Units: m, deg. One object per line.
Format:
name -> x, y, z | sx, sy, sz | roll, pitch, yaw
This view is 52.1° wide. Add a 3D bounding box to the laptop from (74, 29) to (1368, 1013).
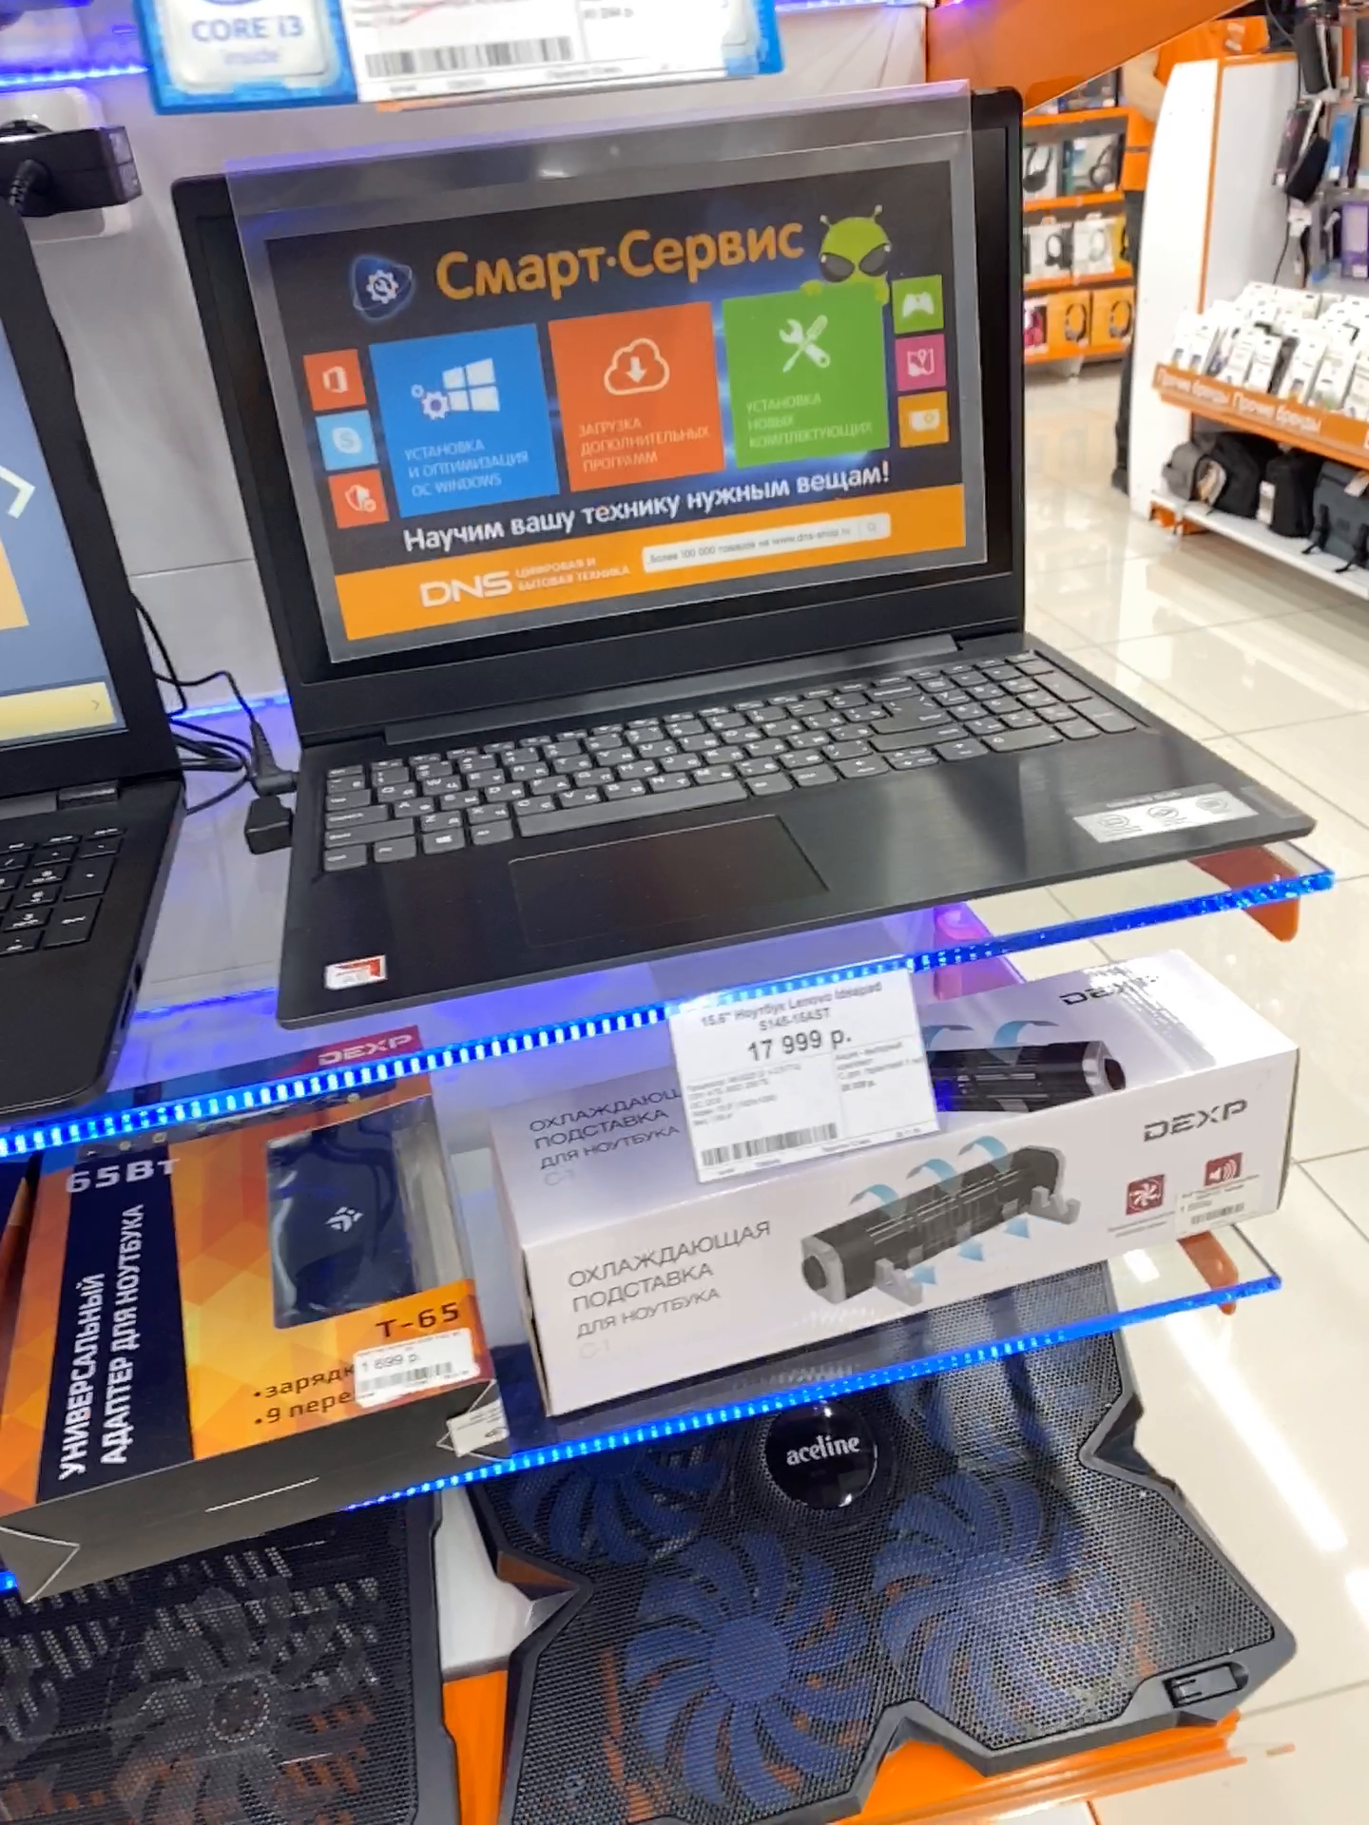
laptop -> 0.013, -0.163, 0.527 | 0.357, 0.236, 0.267 | -10, 28, -8
